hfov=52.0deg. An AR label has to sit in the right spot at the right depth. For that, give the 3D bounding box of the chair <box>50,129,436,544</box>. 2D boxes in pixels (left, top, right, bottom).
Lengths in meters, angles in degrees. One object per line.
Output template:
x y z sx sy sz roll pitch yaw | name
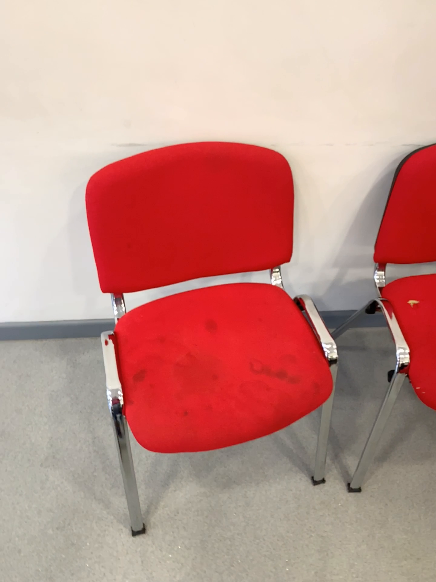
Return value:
-0.012 0.135 1.131 0.597 0.753 0.633 -10 52 -11 | chair

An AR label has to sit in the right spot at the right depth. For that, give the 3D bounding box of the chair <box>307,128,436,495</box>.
0.645 0.097 1.175 0.567 0.793 0.593 -1 51 -4 | chair
